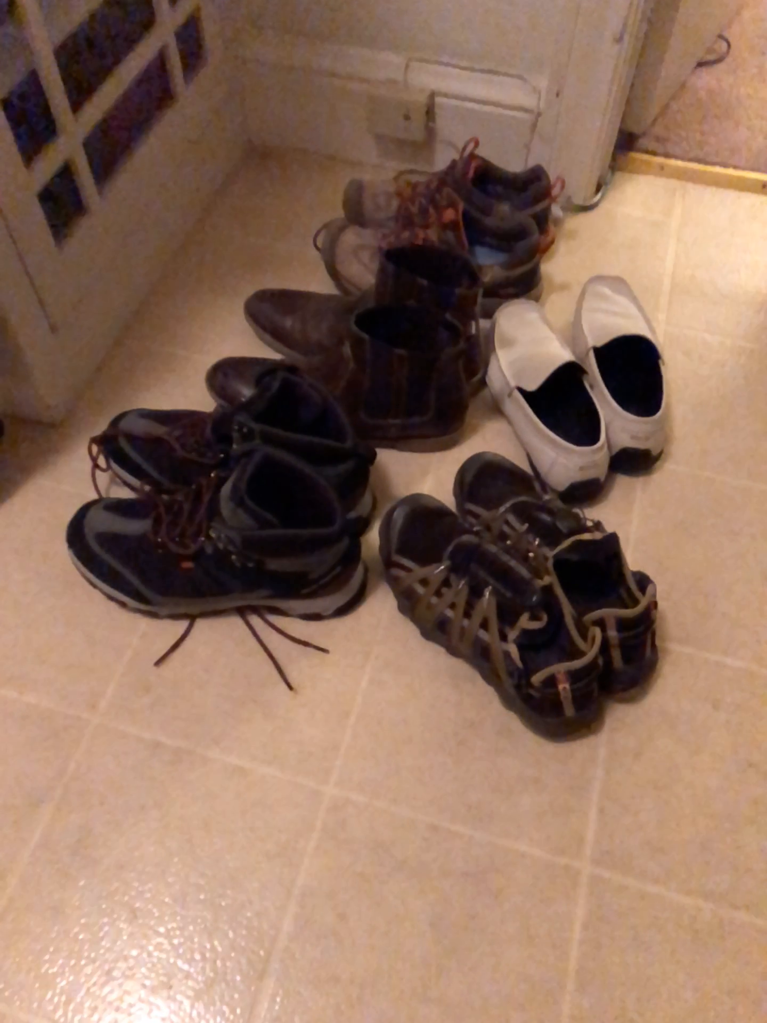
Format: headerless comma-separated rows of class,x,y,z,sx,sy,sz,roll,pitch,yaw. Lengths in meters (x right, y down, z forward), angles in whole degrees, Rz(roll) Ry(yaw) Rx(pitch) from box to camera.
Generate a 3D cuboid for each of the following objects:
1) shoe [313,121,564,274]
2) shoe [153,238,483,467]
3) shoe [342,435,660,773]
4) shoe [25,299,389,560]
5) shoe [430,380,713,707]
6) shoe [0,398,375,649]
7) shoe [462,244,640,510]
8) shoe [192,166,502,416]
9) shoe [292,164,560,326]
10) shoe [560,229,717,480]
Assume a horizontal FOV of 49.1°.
shoe,0.073,-0.427,1.142,0.313,0.113,0.111,11,56,7
shoe,-0.065,-0.174,0.942,0.323,0.192,0.111,8,55,5
shoe,0.096,0.081,0.799,0.110,0.122,0.294,-34,62,-22
shoe,-0.166,-0.081,0.872,0.323,0.192,0.111,12,56,8
shoe,0.171,0.024,0.844,0.110,0.122,0.294,-23,58,-16
shoe,-0.176,0.016,0.796,0.323,0.192,0.111,7,55,4
shoe,0.182,-0.164,0.978,0.110,0.113,0.305,-7,55,-6
shoe,-0.041,-0.260,1.001,0.323,0.192,0.111,17,57,11
shoe,0.054,-0.342,1.076,0.313,0.113,0.111,11,56,7
shoe,0.292,-0.194,1.002,0.110,0.113,0.305,1,55,0
